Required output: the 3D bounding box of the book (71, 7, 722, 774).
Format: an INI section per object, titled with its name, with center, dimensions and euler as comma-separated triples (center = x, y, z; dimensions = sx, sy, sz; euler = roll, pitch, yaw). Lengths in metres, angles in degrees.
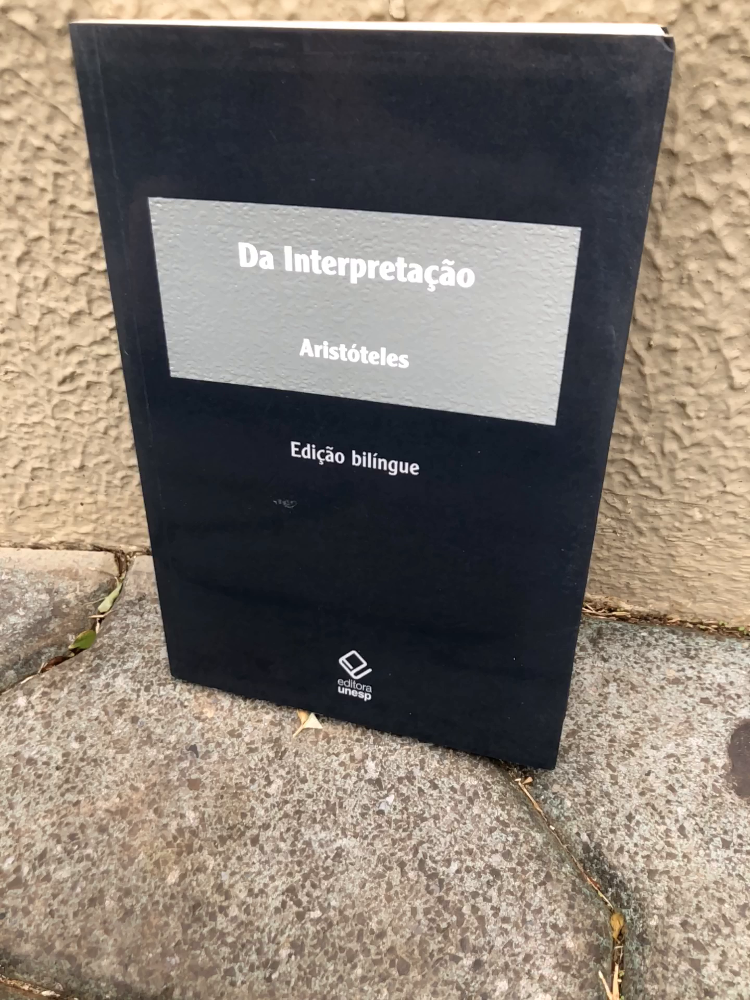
[book]
center = 0.001, -0.021, 0.220
dimensions = 0.132, 0.187, 0.030
euler = 10, 32, 16
